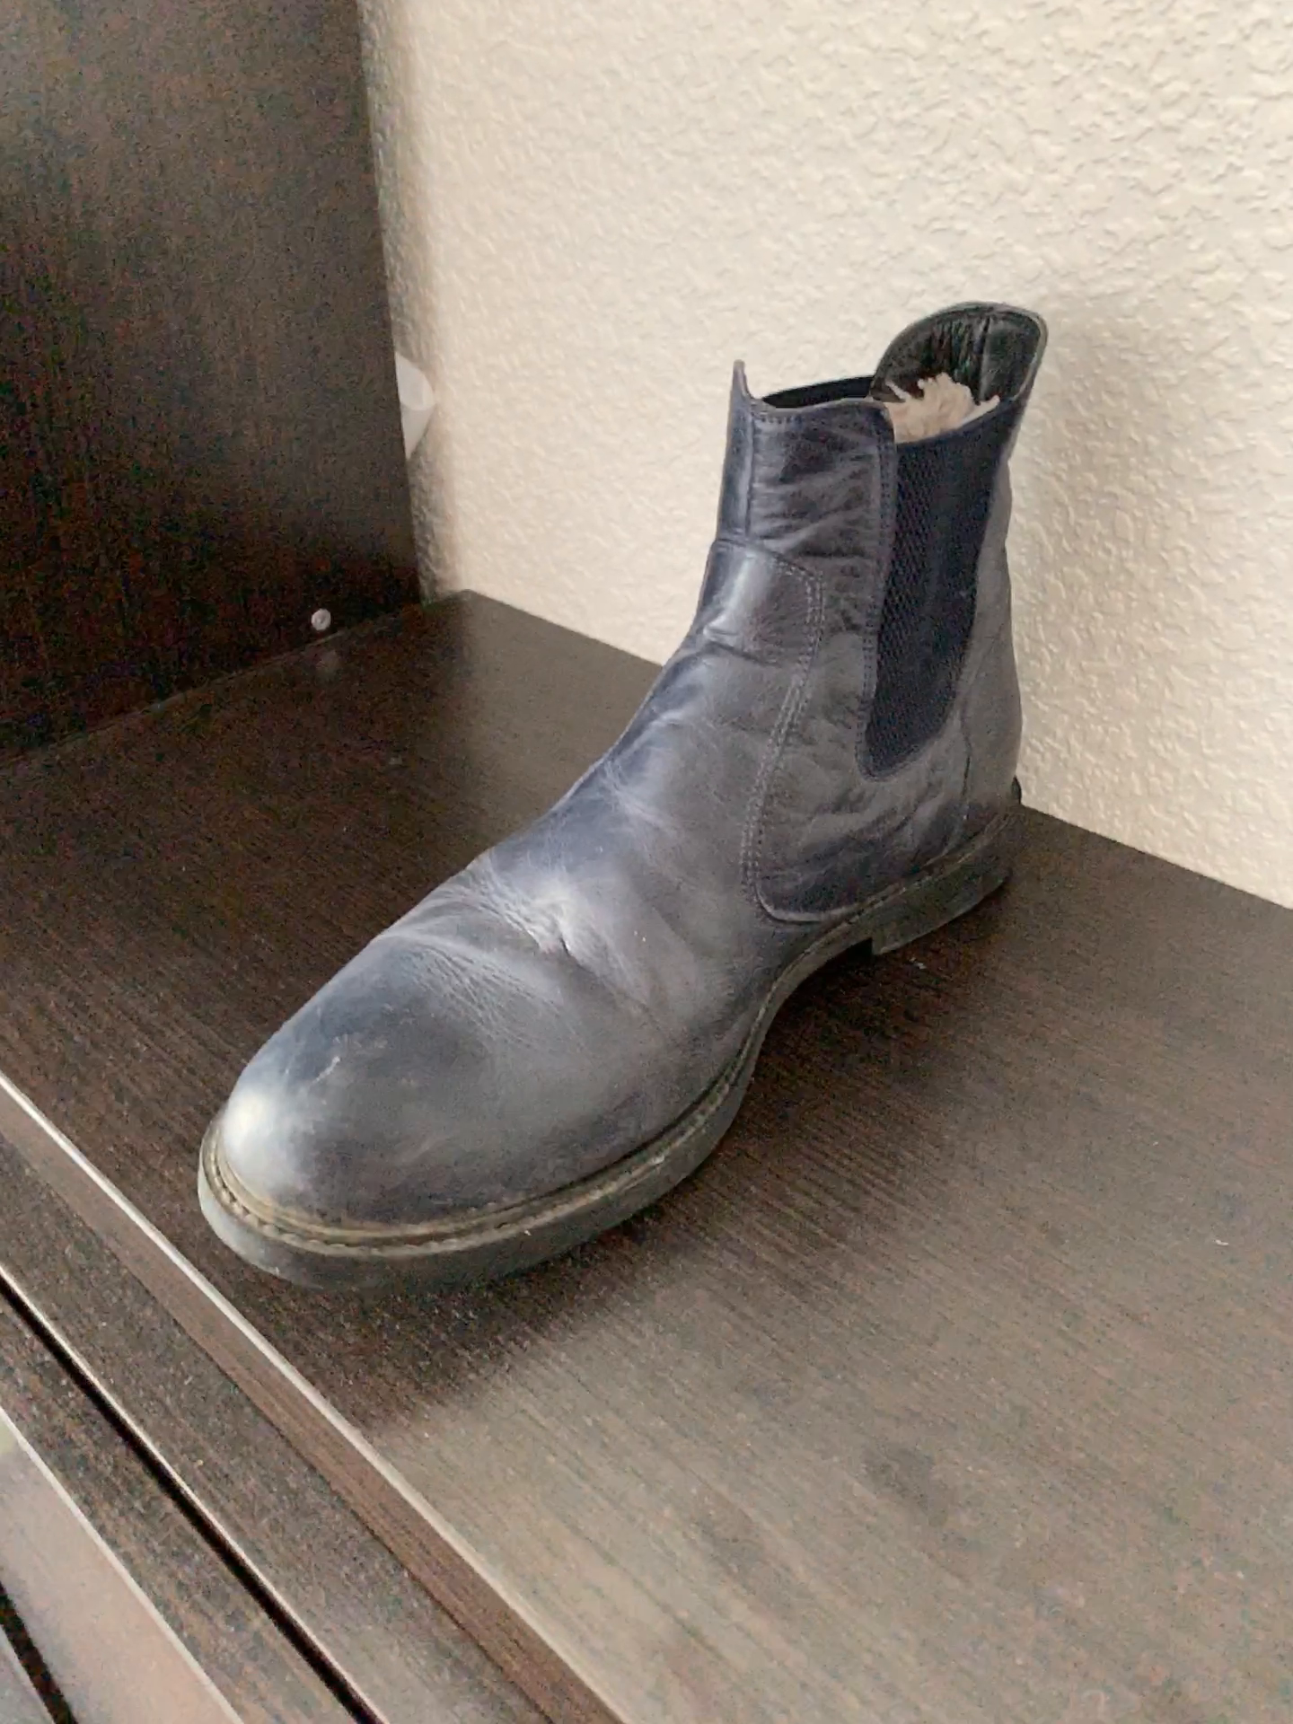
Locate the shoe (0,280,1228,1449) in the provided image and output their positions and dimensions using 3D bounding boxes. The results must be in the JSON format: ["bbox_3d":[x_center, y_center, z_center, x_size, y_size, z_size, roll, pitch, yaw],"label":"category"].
[{"bbox_3d":[0.013,-0.033,0.342,0.110,0.159,0.301,28,44,35],"label":"shoe"}]
